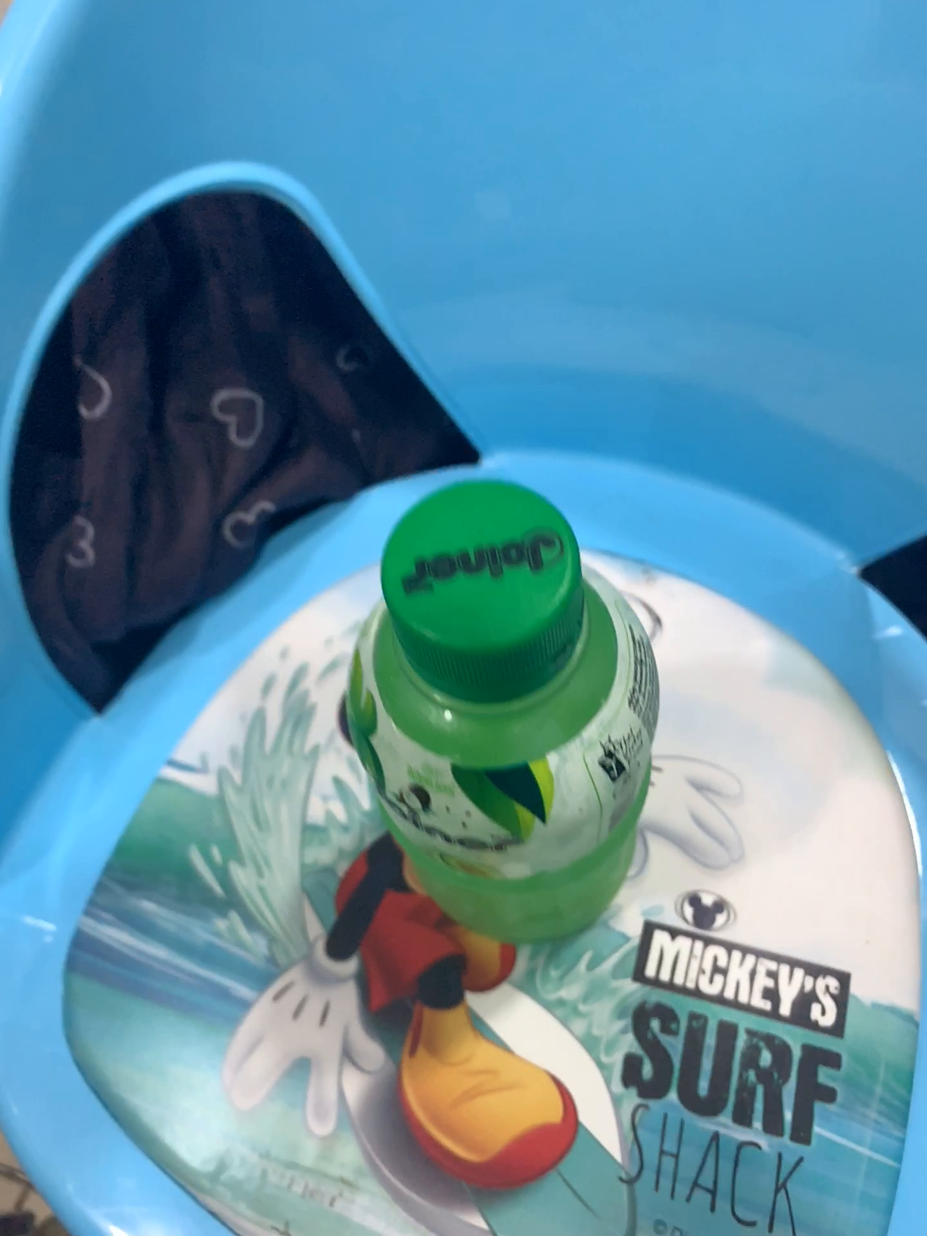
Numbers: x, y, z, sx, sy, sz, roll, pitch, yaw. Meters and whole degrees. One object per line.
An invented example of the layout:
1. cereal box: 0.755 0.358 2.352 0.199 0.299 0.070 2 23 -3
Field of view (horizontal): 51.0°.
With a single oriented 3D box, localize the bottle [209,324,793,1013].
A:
1. bottle: 0.012 0.023 0.191 0.060 0.140 0.060 -2 59 4
